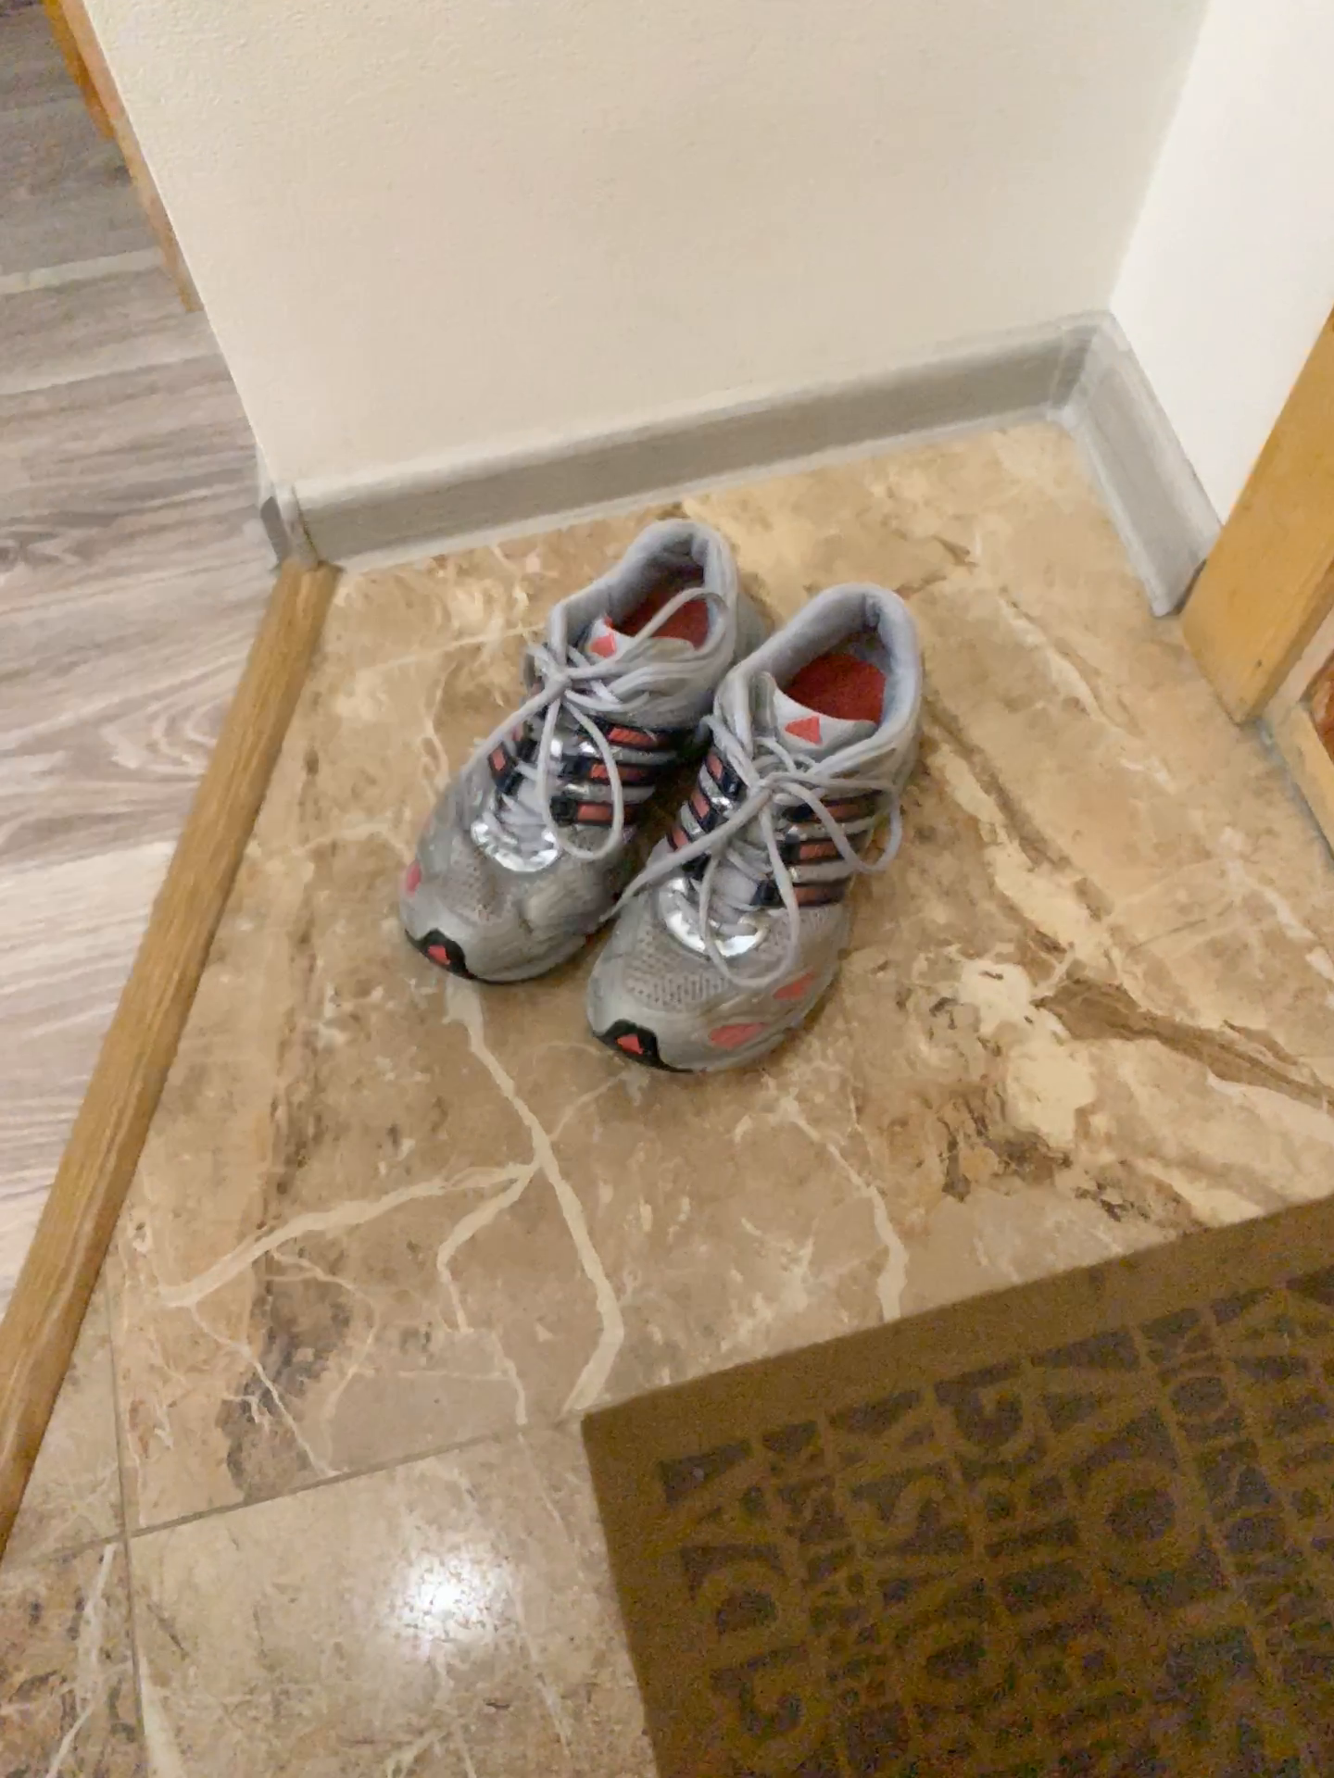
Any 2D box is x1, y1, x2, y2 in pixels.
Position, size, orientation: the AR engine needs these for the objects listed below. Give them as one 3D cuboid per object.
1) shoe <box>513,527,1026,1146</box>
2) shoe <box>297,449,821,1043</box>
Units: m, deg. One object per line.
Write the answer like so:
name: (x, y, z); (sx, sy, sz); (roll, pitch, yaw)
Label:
shoe: (0.049, -0.027, 0.612); (0.110, 0.090, 0.240); (27, 68, 14)
shoe: (-0.039, -0.069, 0.632); (0.110, 0.090, 0.240); (29, 68, 14)
